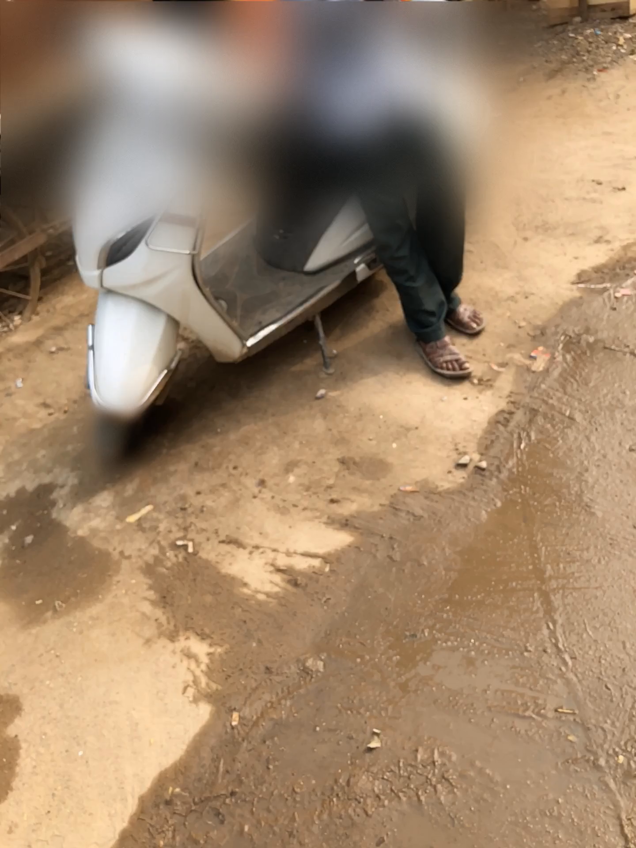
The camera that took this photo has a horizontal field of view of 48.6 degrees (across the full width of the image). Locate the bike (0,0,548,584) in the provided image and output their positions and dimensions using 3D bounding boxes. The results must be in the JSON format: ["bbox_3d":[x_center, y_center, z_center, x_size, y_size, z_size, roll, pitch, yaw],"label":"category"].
[{"bbox_3d":[-0.045,-0.613,1.983,0.657,1.113,1.582,23,54,38],"label":"bike"}]
